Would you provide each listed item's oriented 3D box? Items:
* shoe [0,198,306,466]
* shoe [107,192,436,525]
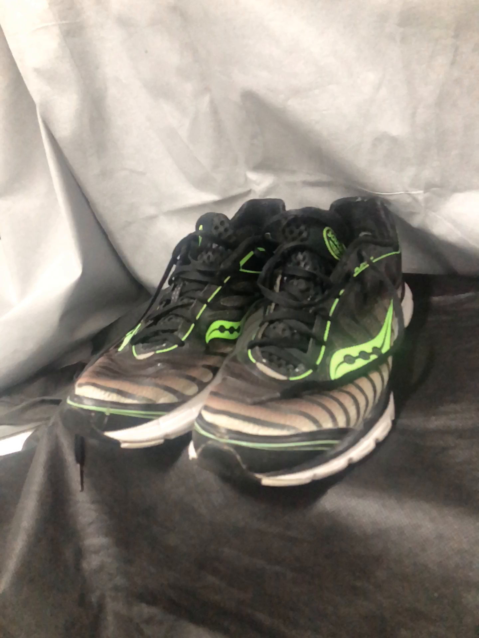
[{"bbox_3d":[-0.053,-0.011,0.412,0.117,0.096,0.225,7,33,32],"label":"shoe"},{"bbox_3d":[0.044,-0.001,0.347,0.114,0.097,0.225,7,33,32],"label":"shoe"}]
